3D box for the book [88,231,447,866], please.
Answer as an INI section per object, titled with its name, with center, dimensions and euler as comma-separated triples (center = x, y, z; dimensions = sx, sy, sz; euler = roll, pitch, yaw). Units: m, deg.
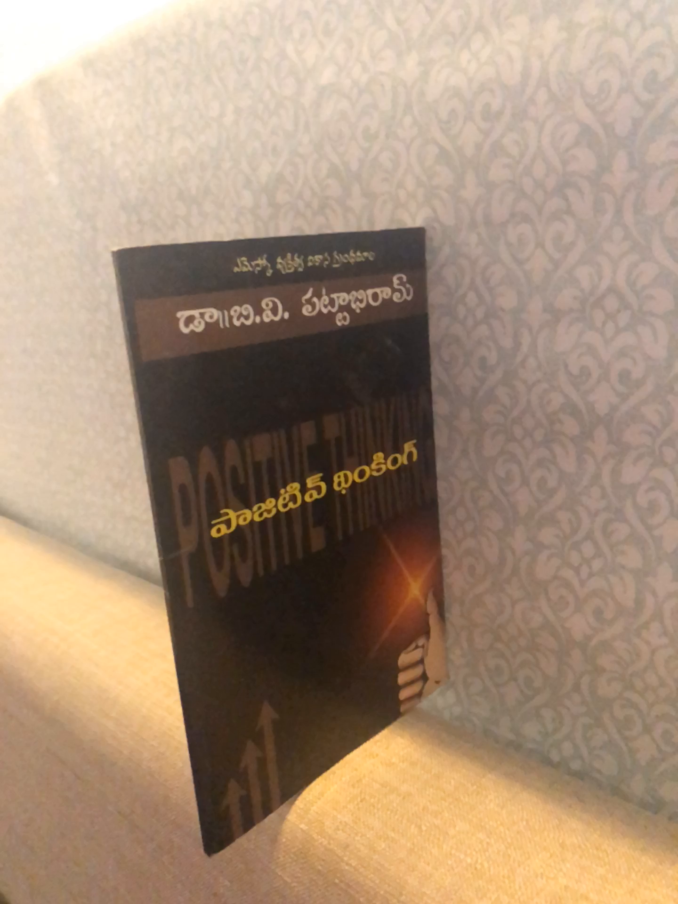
[book]
center = -0.009, 0.020, 0.247
dimensions = 0.011, 0.175, 0.127
euler = 8, 18, 42
